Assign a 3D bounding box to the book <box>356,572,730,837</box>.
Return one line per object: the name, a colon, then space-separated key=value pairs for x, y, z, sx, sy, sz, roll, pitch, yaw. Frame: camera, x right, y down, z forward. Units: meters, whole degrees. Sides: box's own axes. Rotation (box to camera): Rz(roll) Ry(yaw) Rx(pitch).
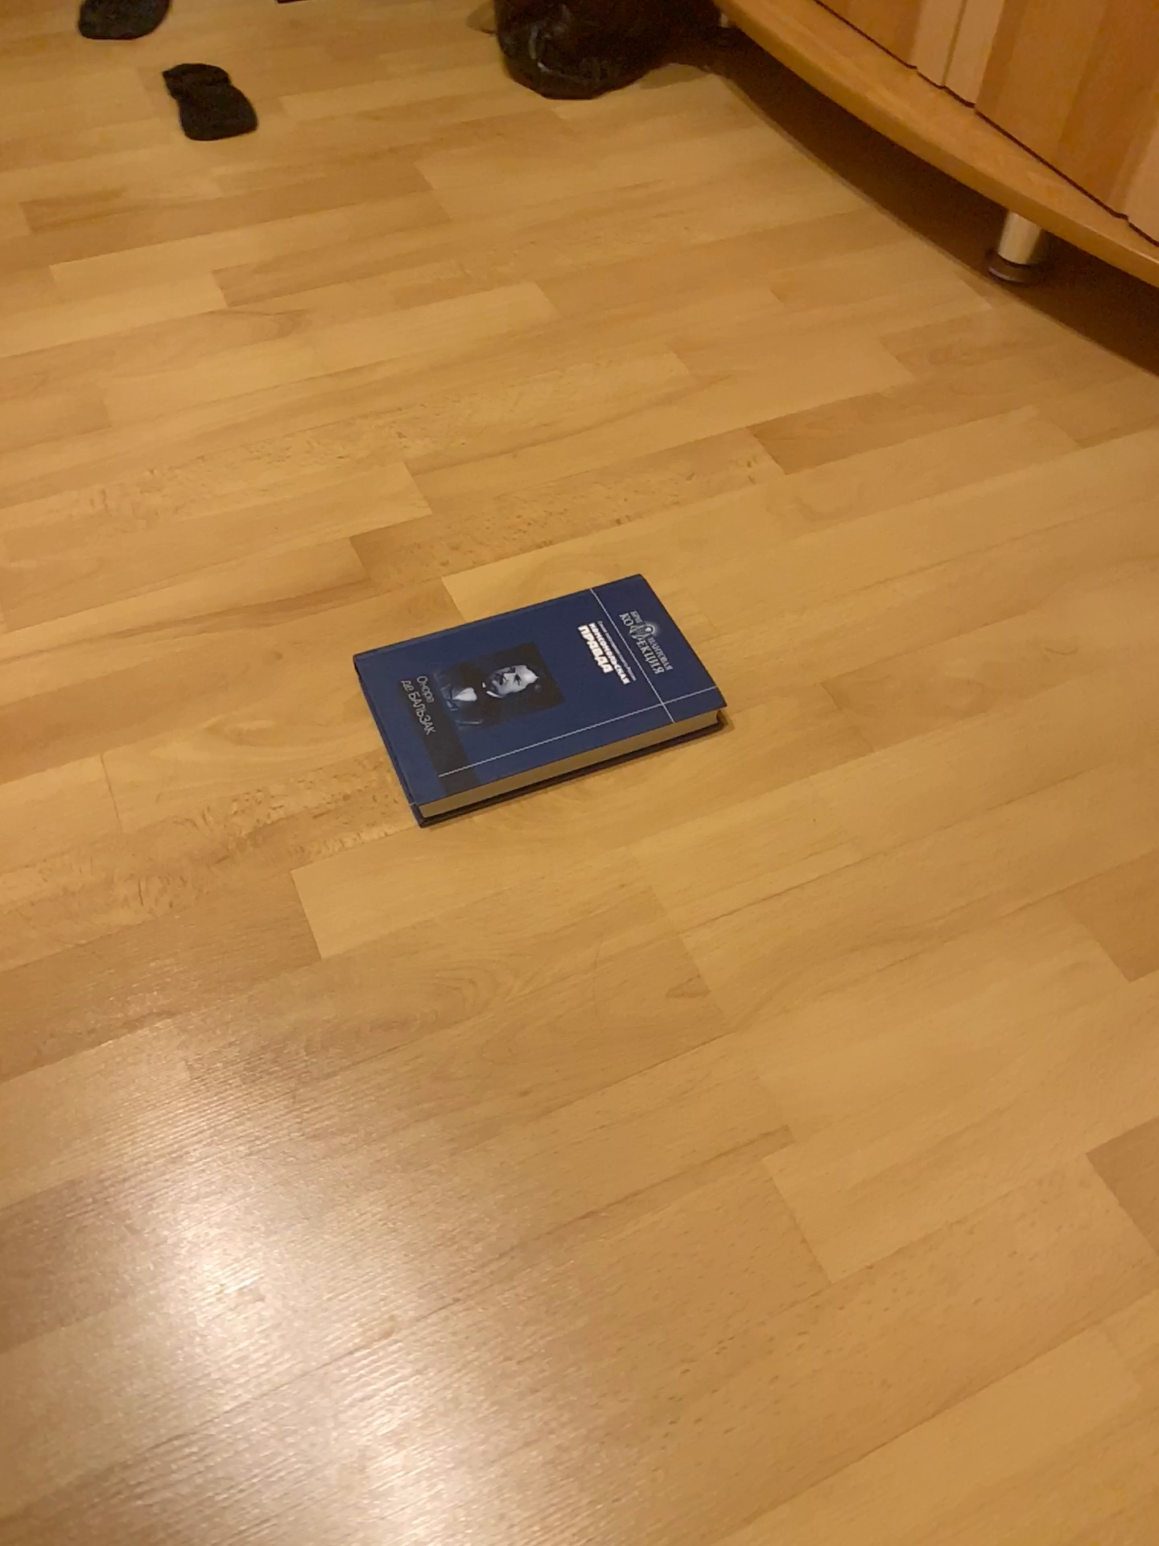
book: x=-0.025 y=-0.049 z=0.747 sx=0.200 sy=0.030 sz=0.129 roll=-18 pitch=54 yaw=-14
